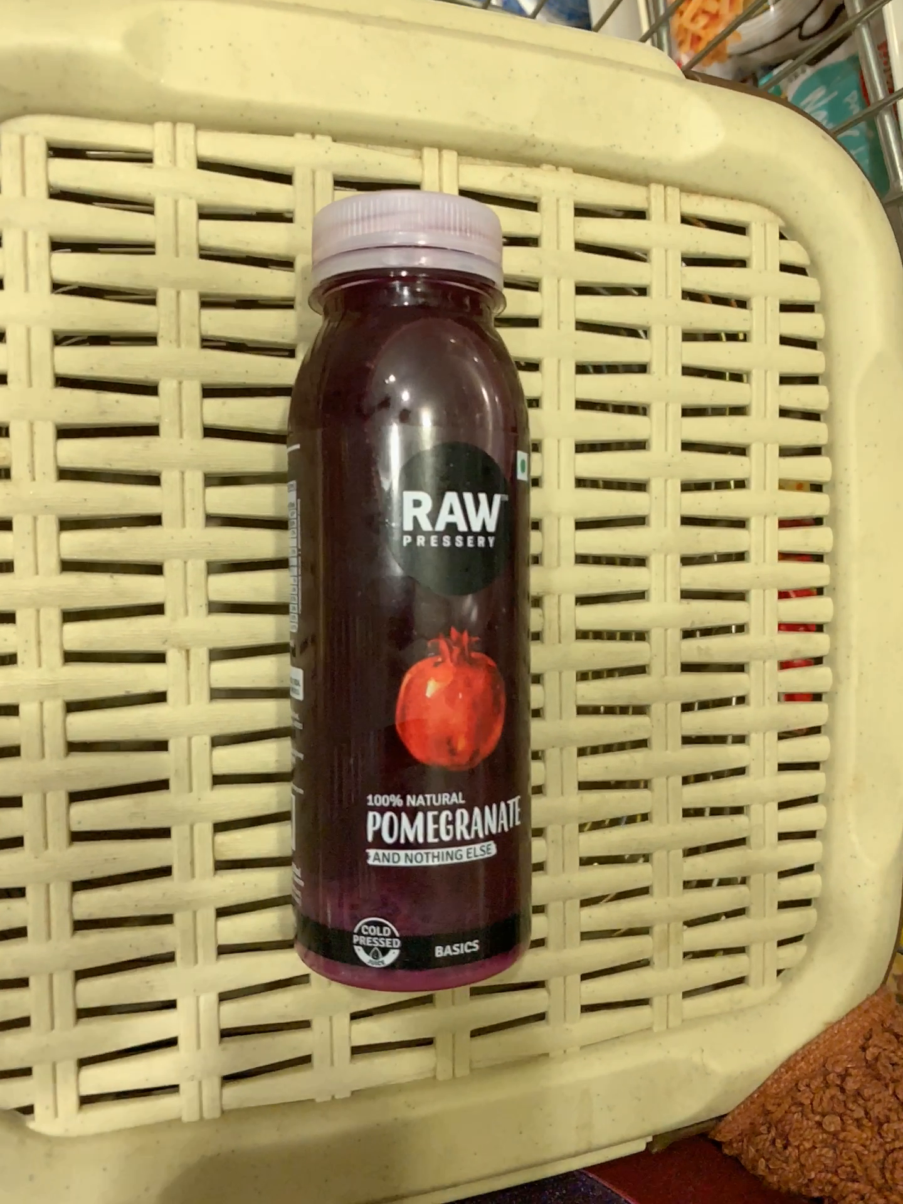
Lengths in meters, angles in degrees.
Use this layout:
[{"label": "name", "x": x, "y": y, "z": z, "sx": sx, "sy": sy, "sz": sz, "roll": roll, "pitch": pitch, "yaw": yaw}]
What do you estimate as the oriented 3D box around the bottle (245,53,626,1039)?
[{"label": "bottle", "x": -0.007, "y": -0.008, "z": 0.186, "sx": 0.060, "sy": 0.050, "sz": 0.160, "roll": 0, "pitch": 93, "yaw": -20}]
